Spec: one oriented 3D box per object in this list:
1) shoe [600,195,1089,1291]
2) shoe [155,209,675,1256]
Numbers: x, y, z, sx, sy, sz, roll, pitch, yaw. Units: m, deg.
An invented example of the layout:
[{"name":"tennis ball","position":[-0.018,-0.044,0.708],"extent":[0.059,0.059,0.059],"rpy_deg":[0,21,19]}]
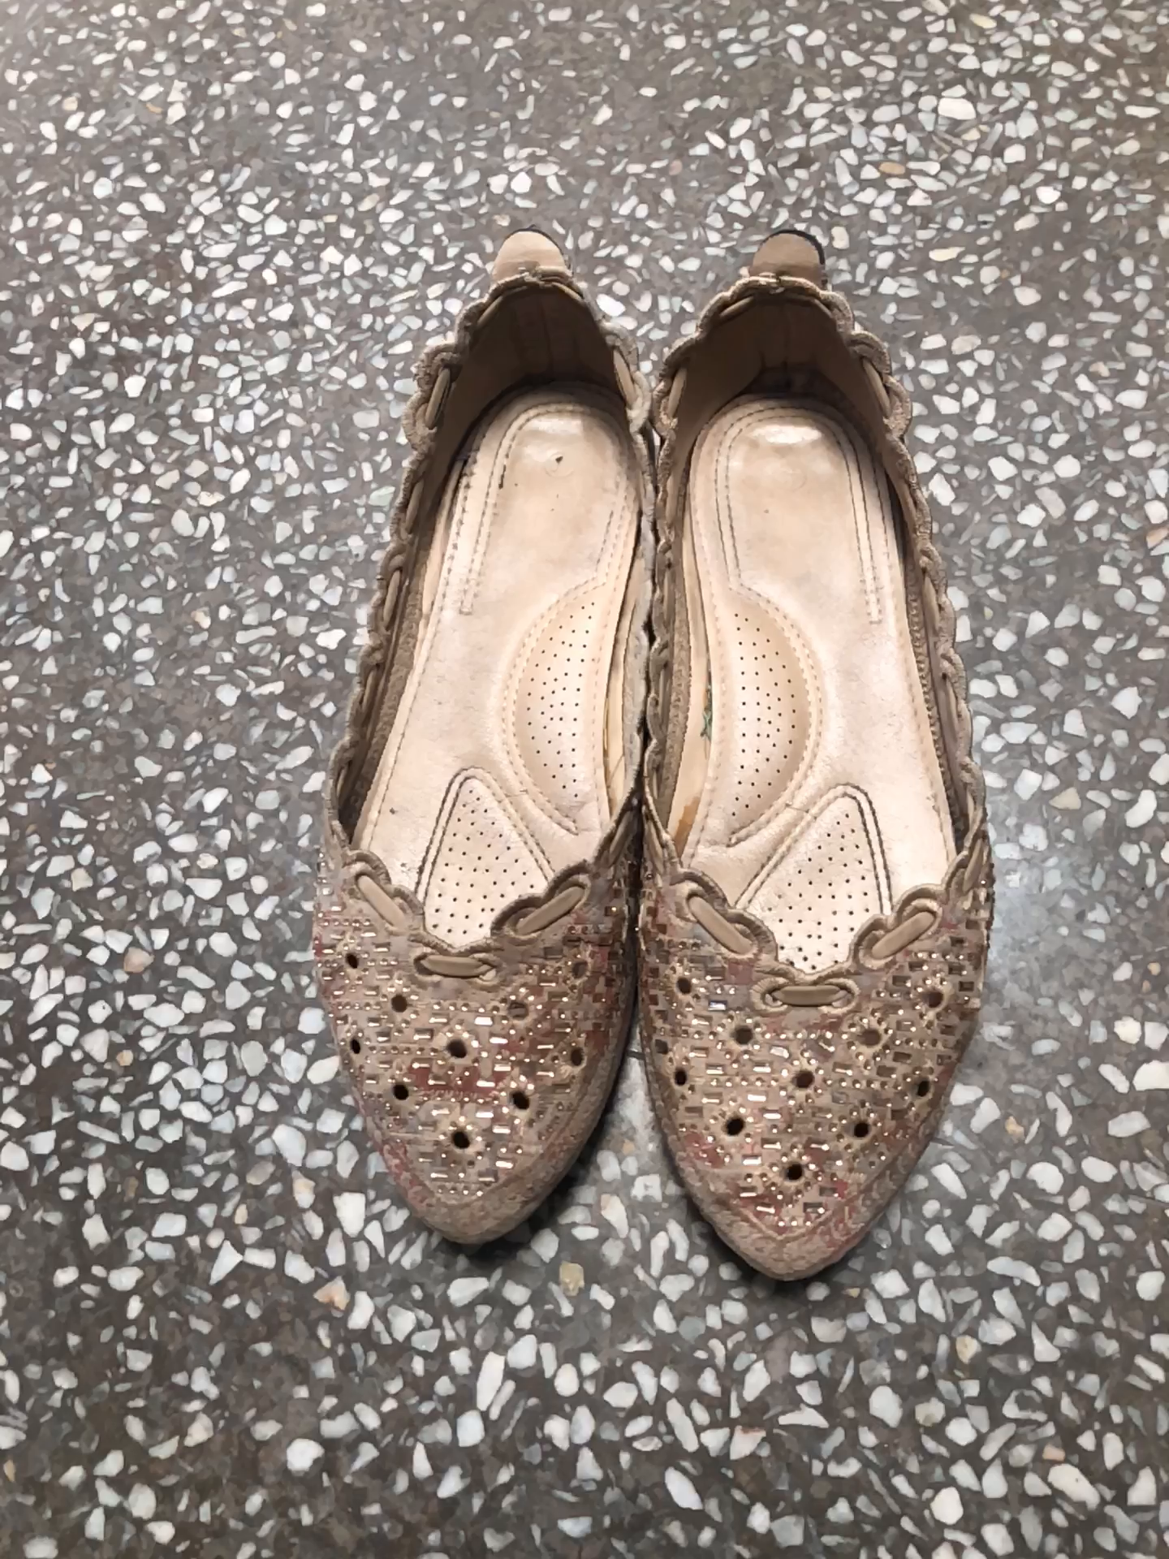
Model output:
[{"name":"shoe","position":[0.052,-0.014,0.316],"extent":[0.089,0.068,0.255],"rpy_deg":[-1,70,5]},{"name":"shoe","position":[-0.029,-0.018,0.329],"extent":[0.089,0.068,0.255],"rpy_deg":[2,70,7]}]
